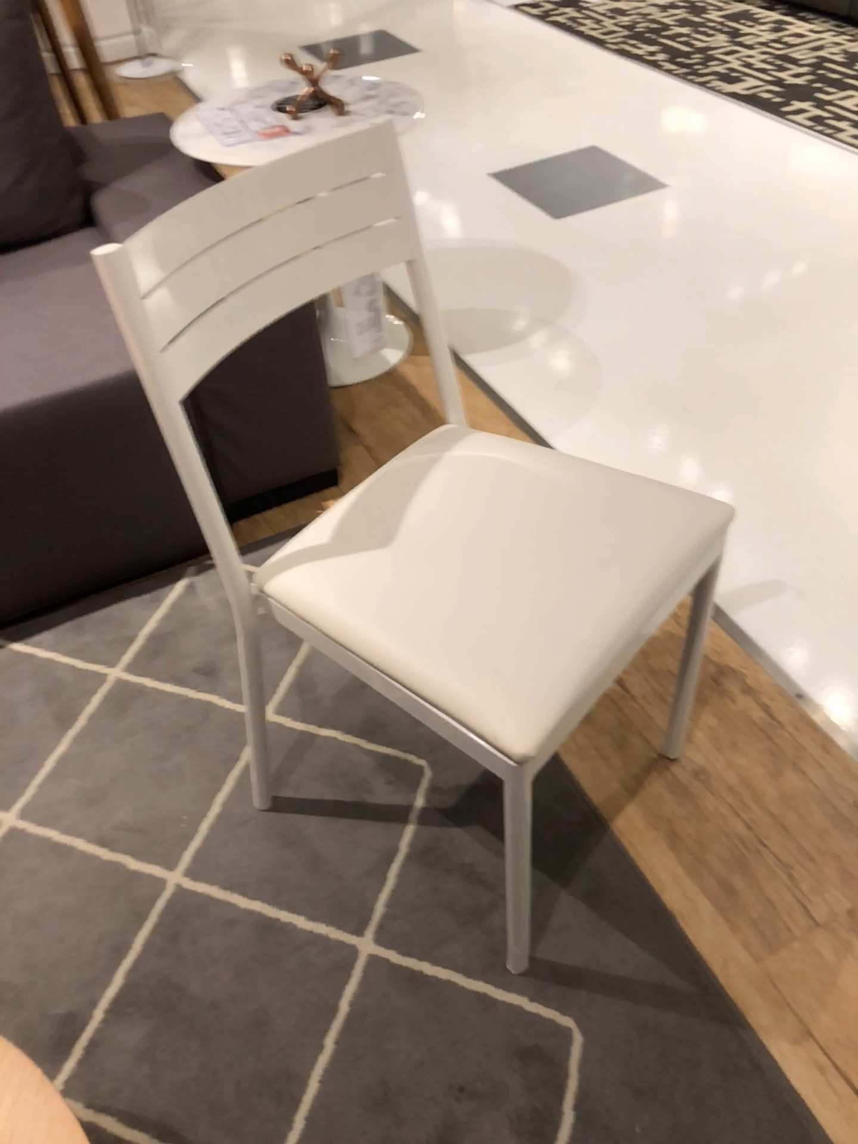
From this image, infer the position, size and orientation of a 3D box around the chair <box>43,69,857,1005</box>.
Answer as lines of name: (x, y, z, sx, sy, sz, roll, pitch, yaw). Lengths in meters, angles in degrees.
chair: (0.049, -0.023, 1.010, 0.472, 0.774, 0.452, 27, 52, 30)
